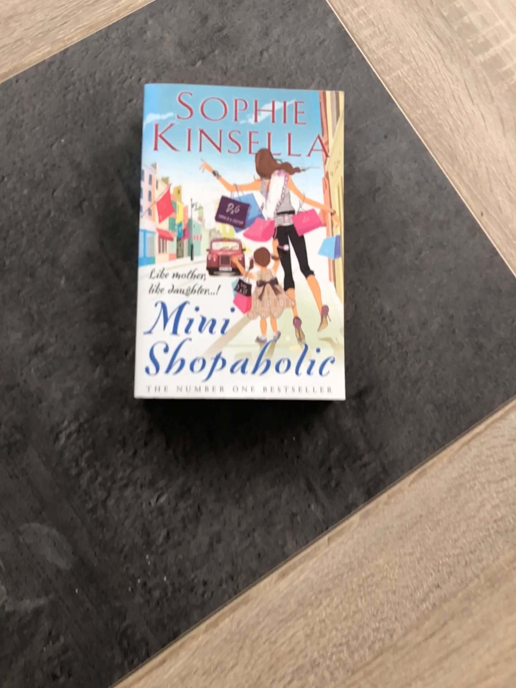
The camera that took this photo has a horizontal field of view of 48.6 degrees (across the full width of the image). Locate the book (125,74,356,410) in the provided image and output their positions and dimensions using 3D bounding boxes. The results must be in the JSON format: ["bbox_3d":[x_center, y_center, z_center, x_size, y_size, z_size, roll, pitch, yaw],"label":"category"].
[{"bbox_3d":[-0.008,-0.061,0.356,0.132,0.036,0.200,1,83,-3],"label":"book"}]
